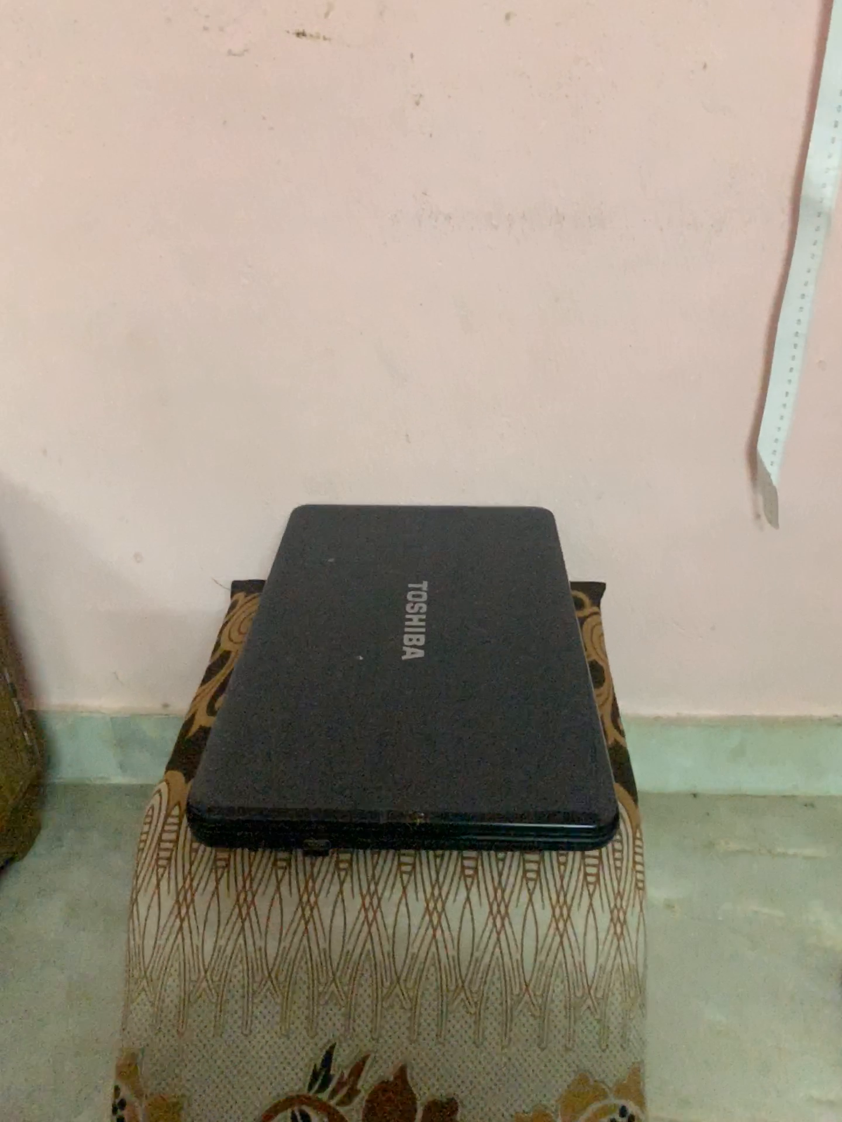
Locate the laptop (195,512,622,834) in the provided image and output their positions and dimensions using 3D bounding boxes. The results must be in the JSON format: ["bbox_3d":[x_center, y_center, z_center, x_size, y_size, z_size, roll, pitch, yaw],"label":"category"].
[{"bbox_3d":[-0.005,0.048,0.608,0.222,0.001,0.372,0,29,2],"label":"laptop"}]
